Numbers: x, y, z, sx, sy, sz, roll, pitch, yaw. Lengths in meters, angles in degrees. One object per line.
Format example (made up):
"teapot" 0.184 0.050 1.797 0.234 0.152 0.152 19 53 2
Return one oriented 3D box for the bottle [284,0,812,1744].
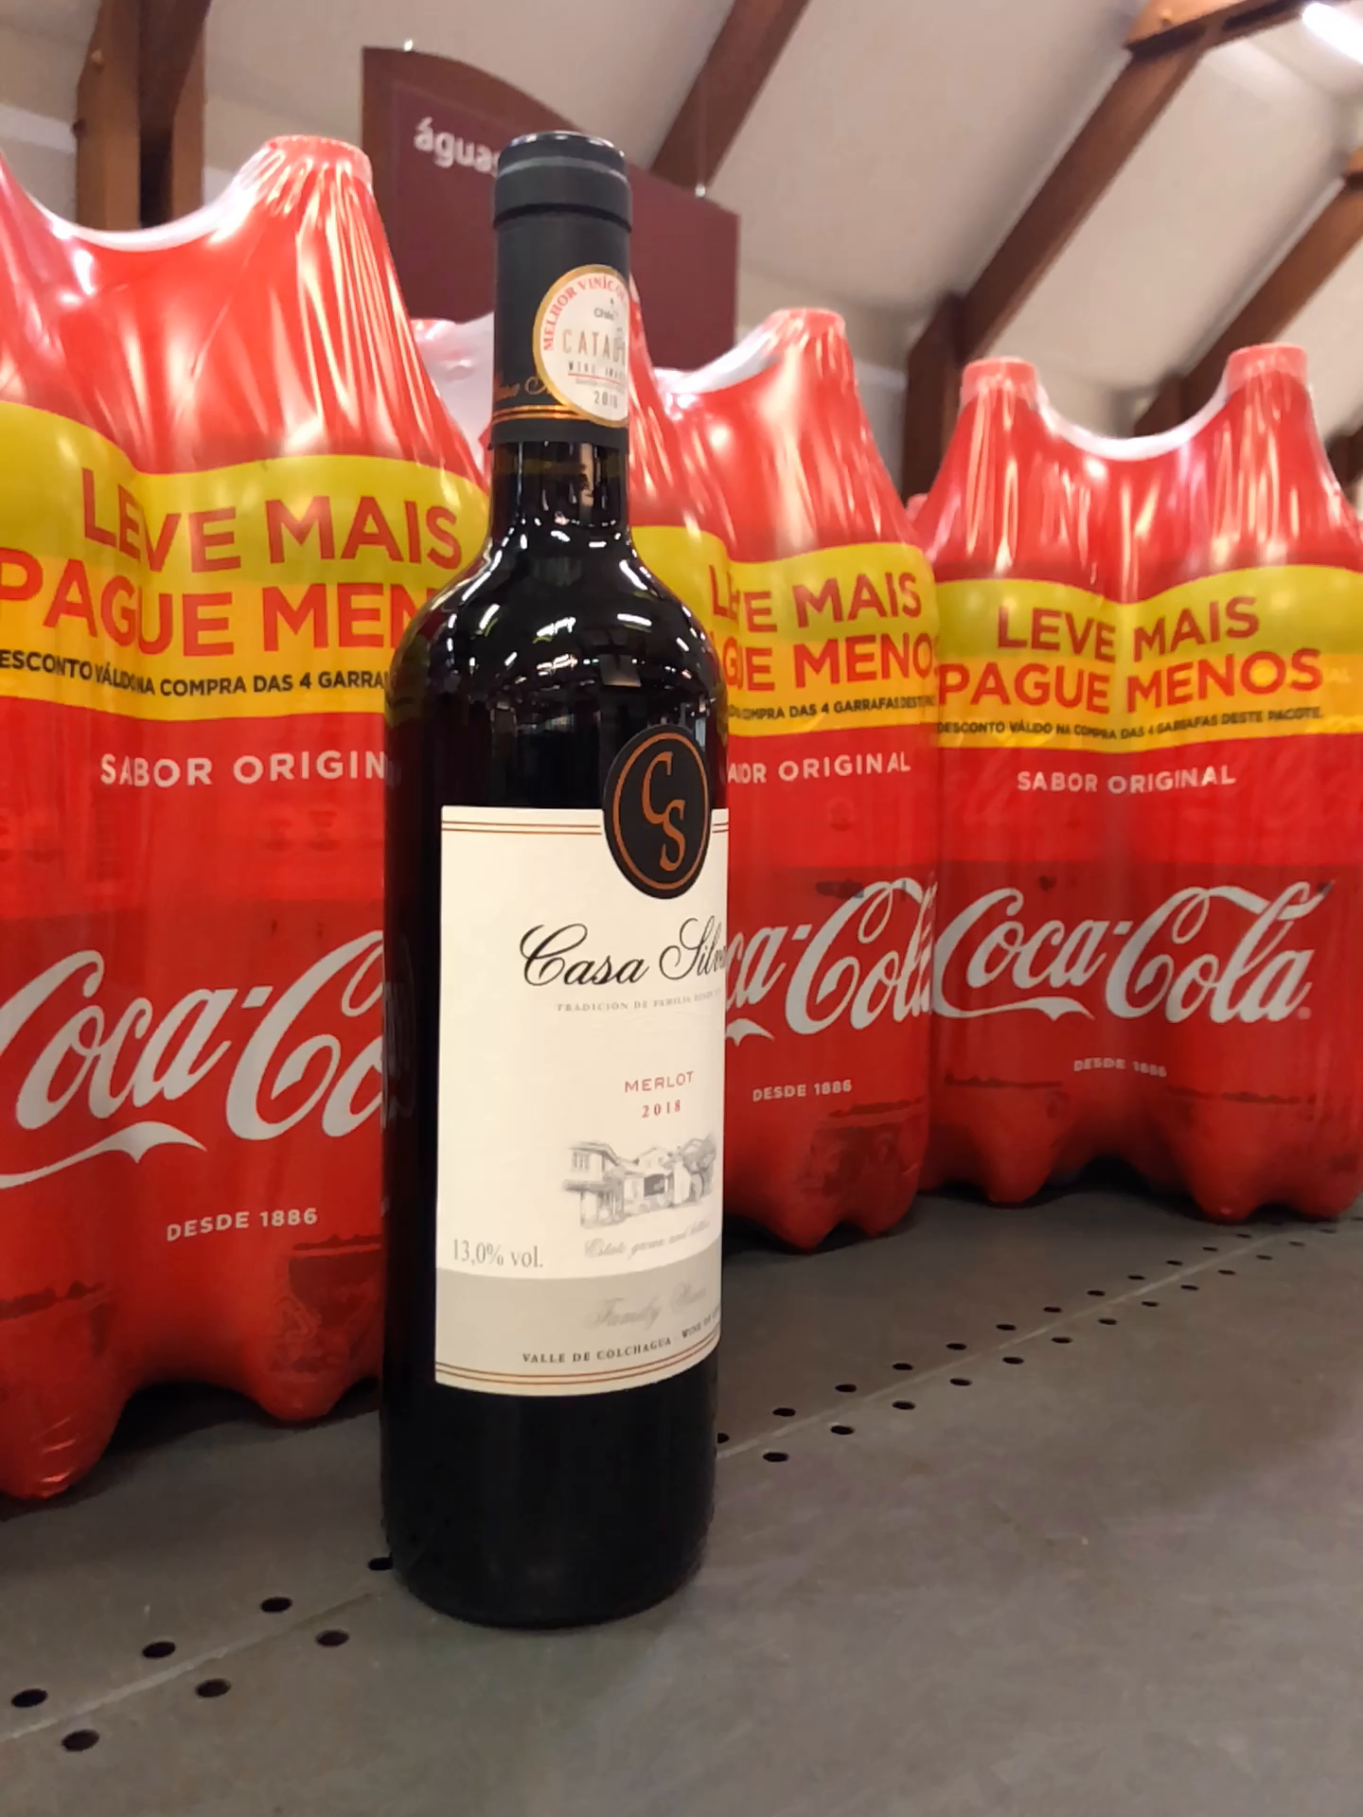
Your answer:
"bottle" -0.030 -0.005 0.320 0.080 0.310 0.070 -2 5 -42
